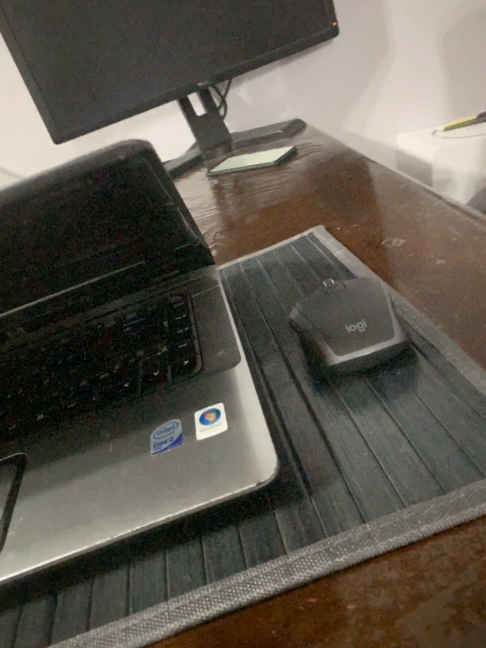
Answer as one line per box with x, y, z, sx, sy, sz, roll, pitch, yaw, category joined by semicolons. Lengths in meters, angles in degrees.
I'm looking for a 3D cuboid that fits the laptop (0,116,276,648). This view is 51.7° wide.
-0.186;0.013;0.283;0.342;0.108;0.245;-20;31;-2;laptop
